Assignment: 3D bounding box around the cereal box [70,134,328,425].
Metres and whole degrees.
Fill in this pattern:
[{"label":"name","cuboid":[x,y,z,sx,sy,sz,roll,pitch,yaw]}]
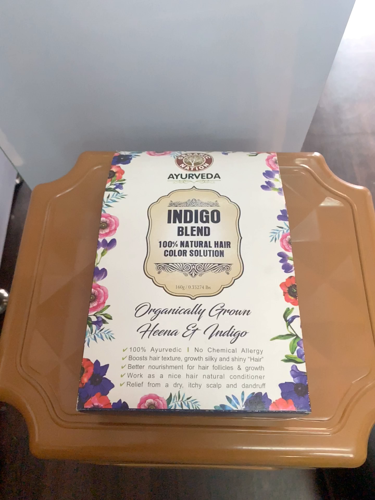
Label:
[{"label":"cereal box","cuboid":[0.008,0.017,0.286,0.140,0.070,0.200,0,64,2]}]
